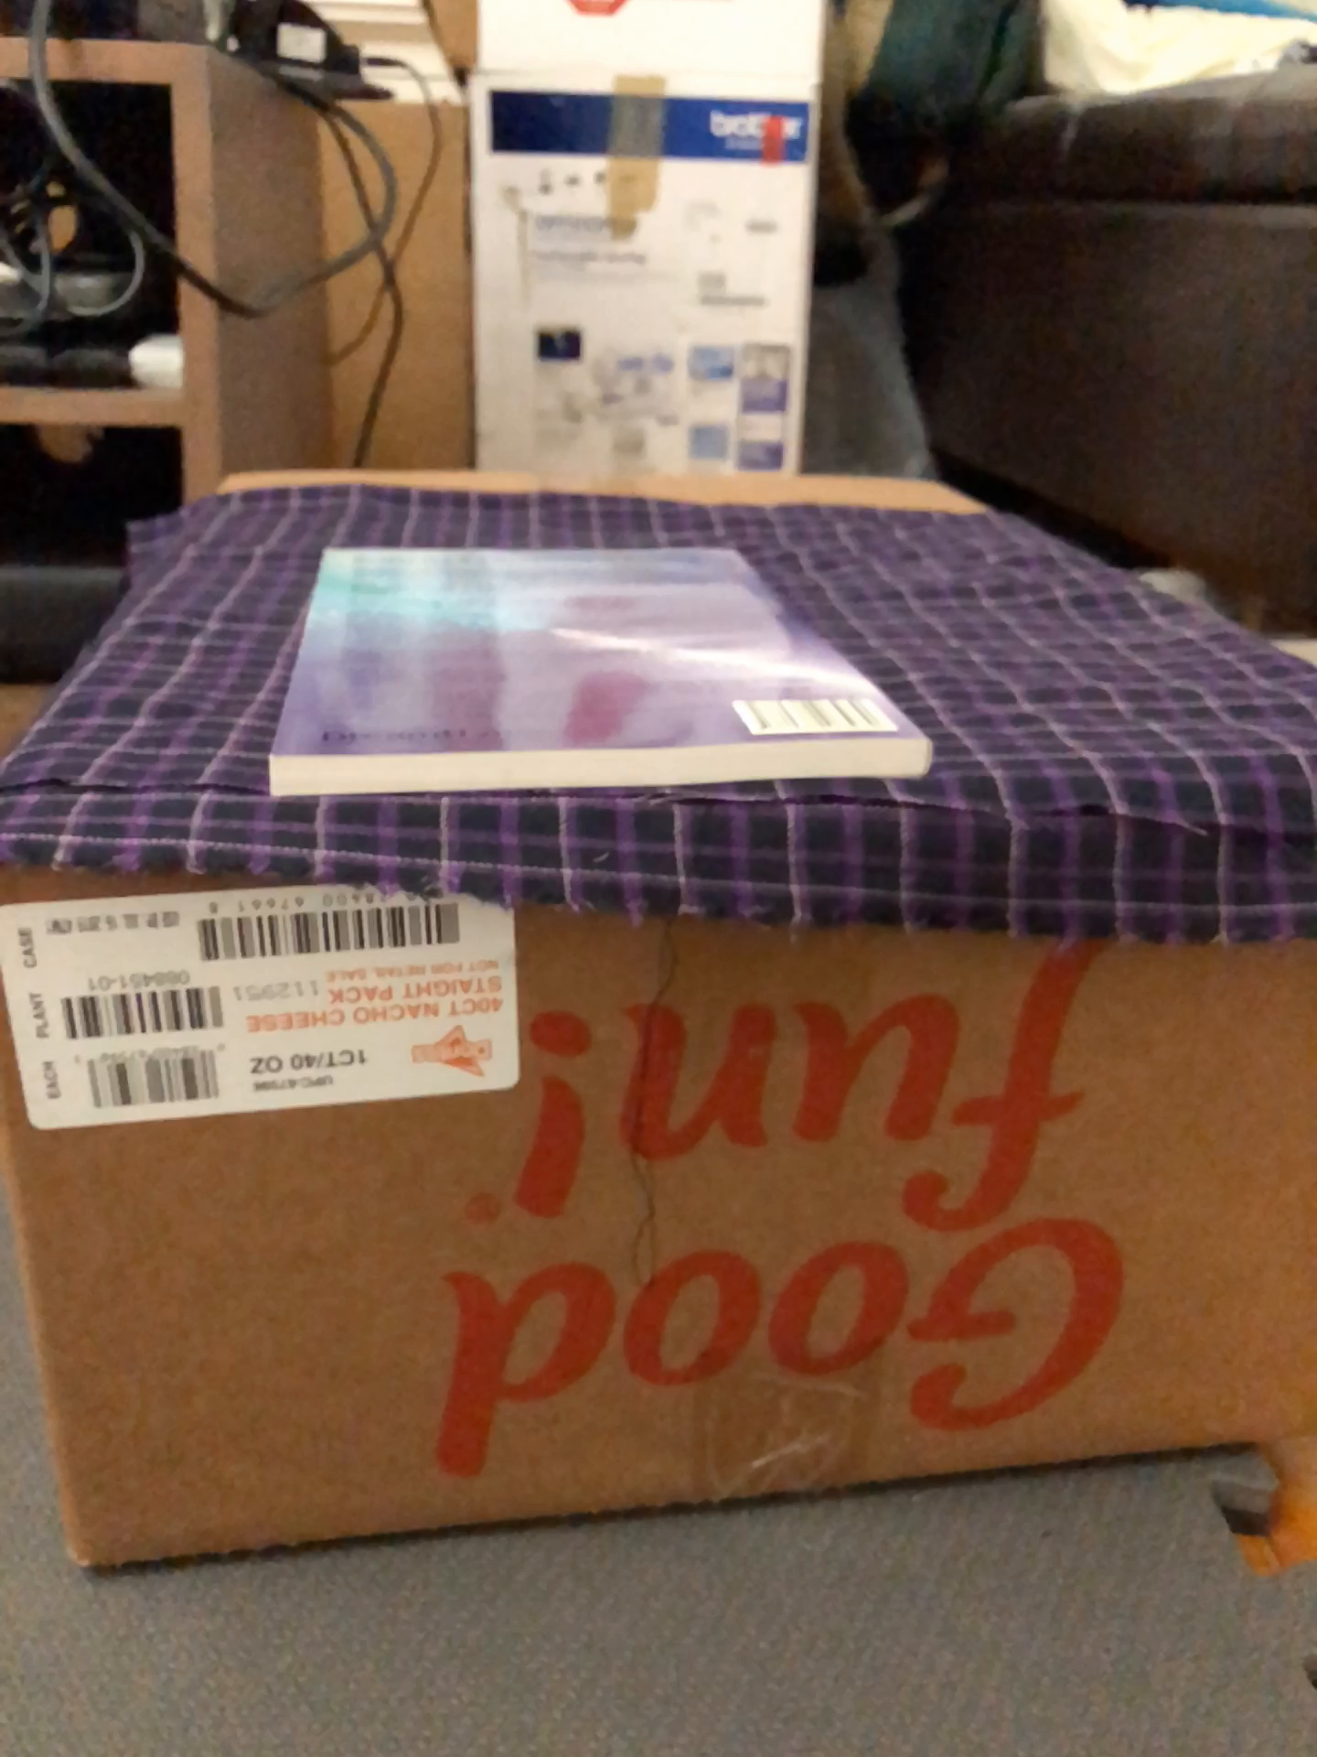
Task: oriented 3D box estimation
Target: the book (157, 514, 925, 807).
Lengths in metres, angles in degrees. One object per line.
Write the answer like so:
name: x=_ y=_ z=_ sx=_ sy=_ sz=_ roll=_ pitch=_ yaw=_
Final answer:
book: x=-0.039 y=-0.071 z=0.410 sx=0.160 sy=0.020 sz=0.221 roll=-2 pitch=24 yaw=-9
